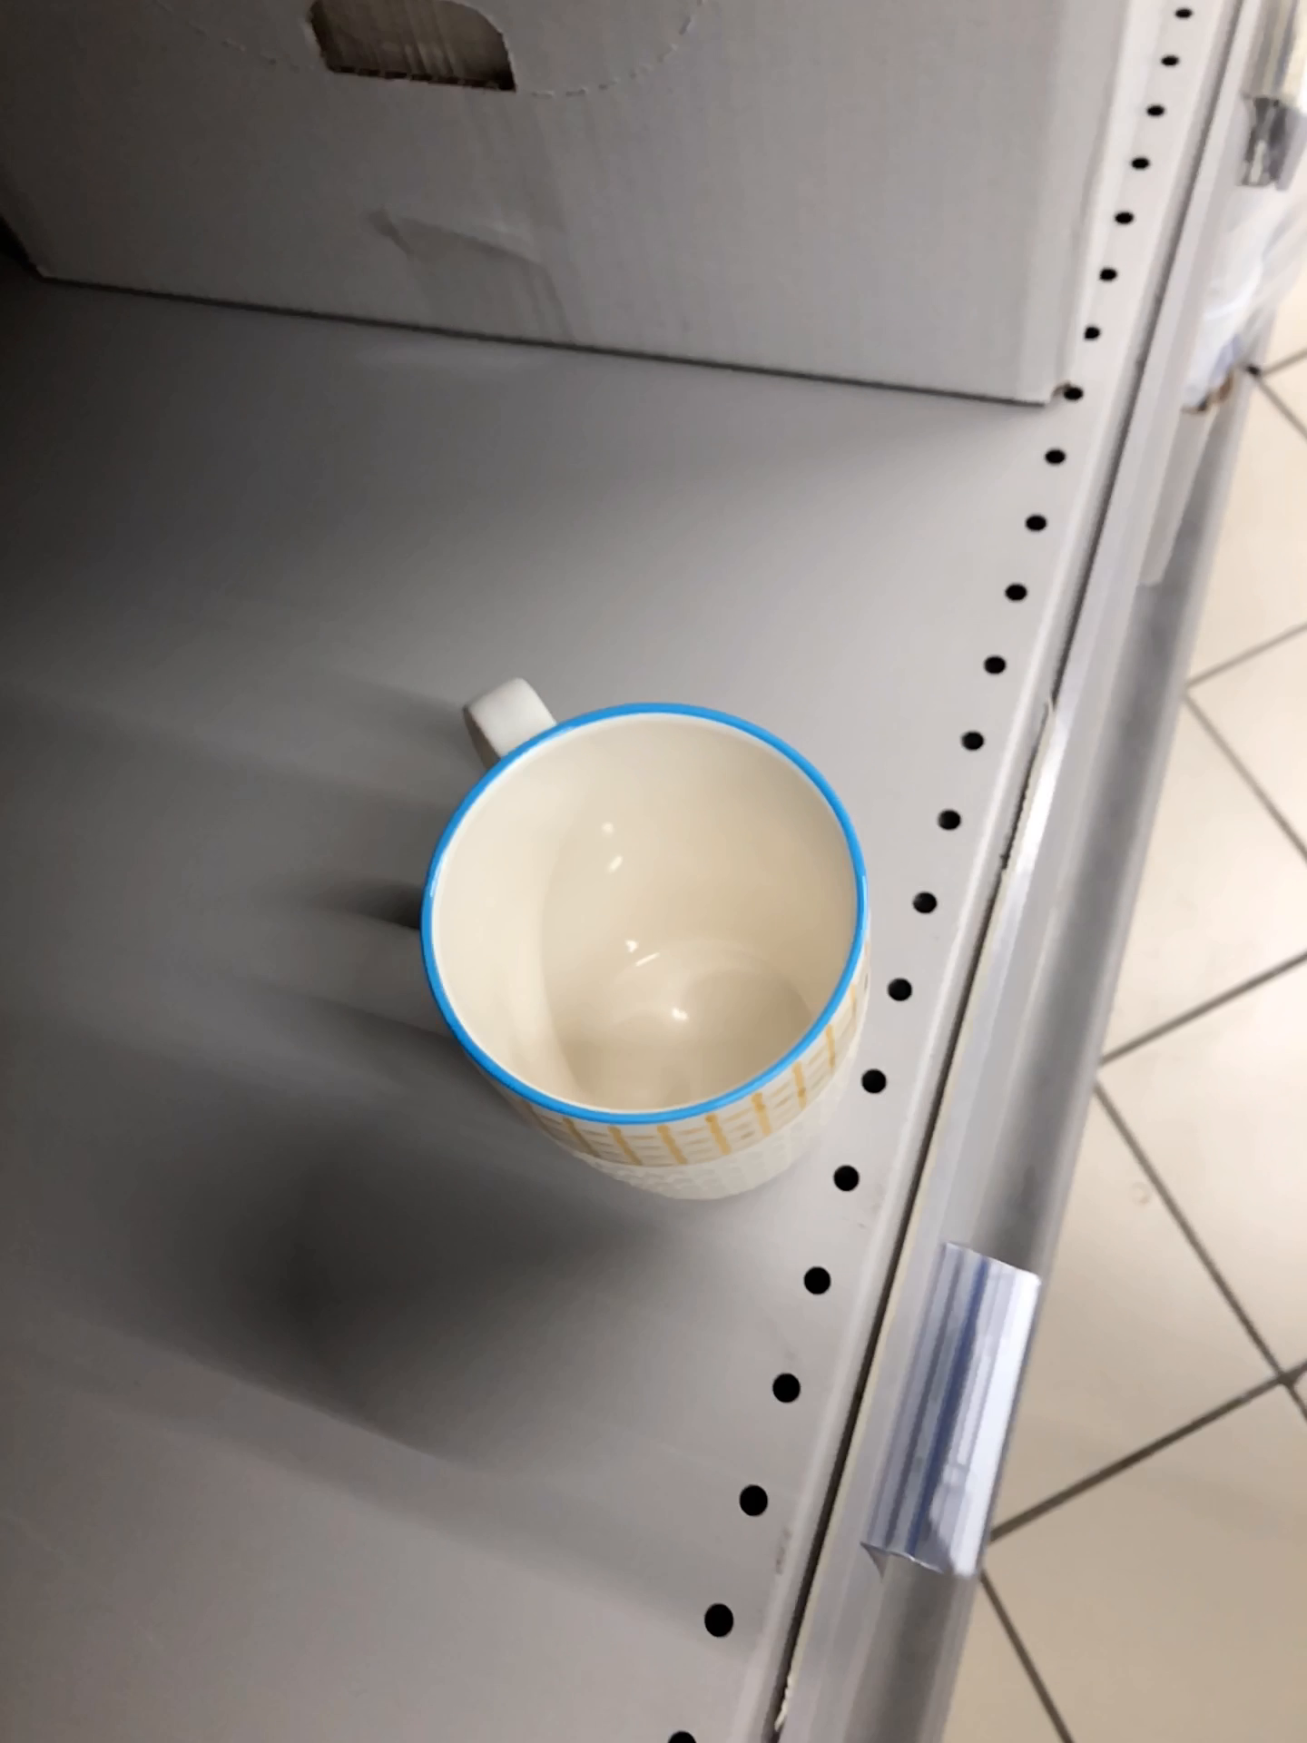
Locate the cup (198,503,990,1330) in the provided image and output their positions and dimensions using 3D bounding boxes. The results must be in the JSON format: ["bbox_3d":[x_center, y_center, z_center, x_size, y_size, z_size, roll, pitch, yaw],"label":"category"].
[{"bbox_3d":[-0.008,0.014,0.315,0.105,0.092,0.118,-36,66,-4],"label":"cup"}]
